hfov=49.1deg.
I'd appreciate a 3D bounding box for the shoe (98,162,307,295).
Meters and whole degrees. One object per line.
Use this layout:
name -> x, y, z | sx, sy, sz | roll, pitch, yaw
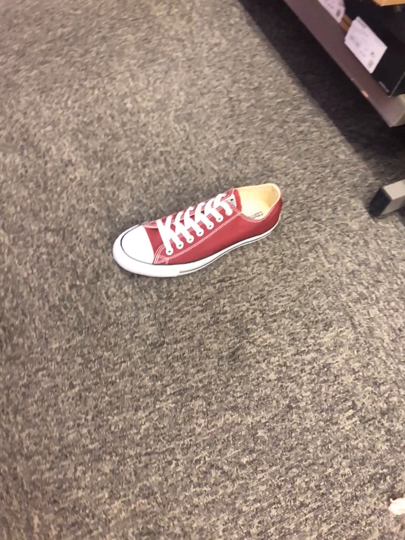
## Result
shoe -> 0.000, -0.065, 0.669 | 0.281, 0.090, 0.100 | -17, 64, -15
